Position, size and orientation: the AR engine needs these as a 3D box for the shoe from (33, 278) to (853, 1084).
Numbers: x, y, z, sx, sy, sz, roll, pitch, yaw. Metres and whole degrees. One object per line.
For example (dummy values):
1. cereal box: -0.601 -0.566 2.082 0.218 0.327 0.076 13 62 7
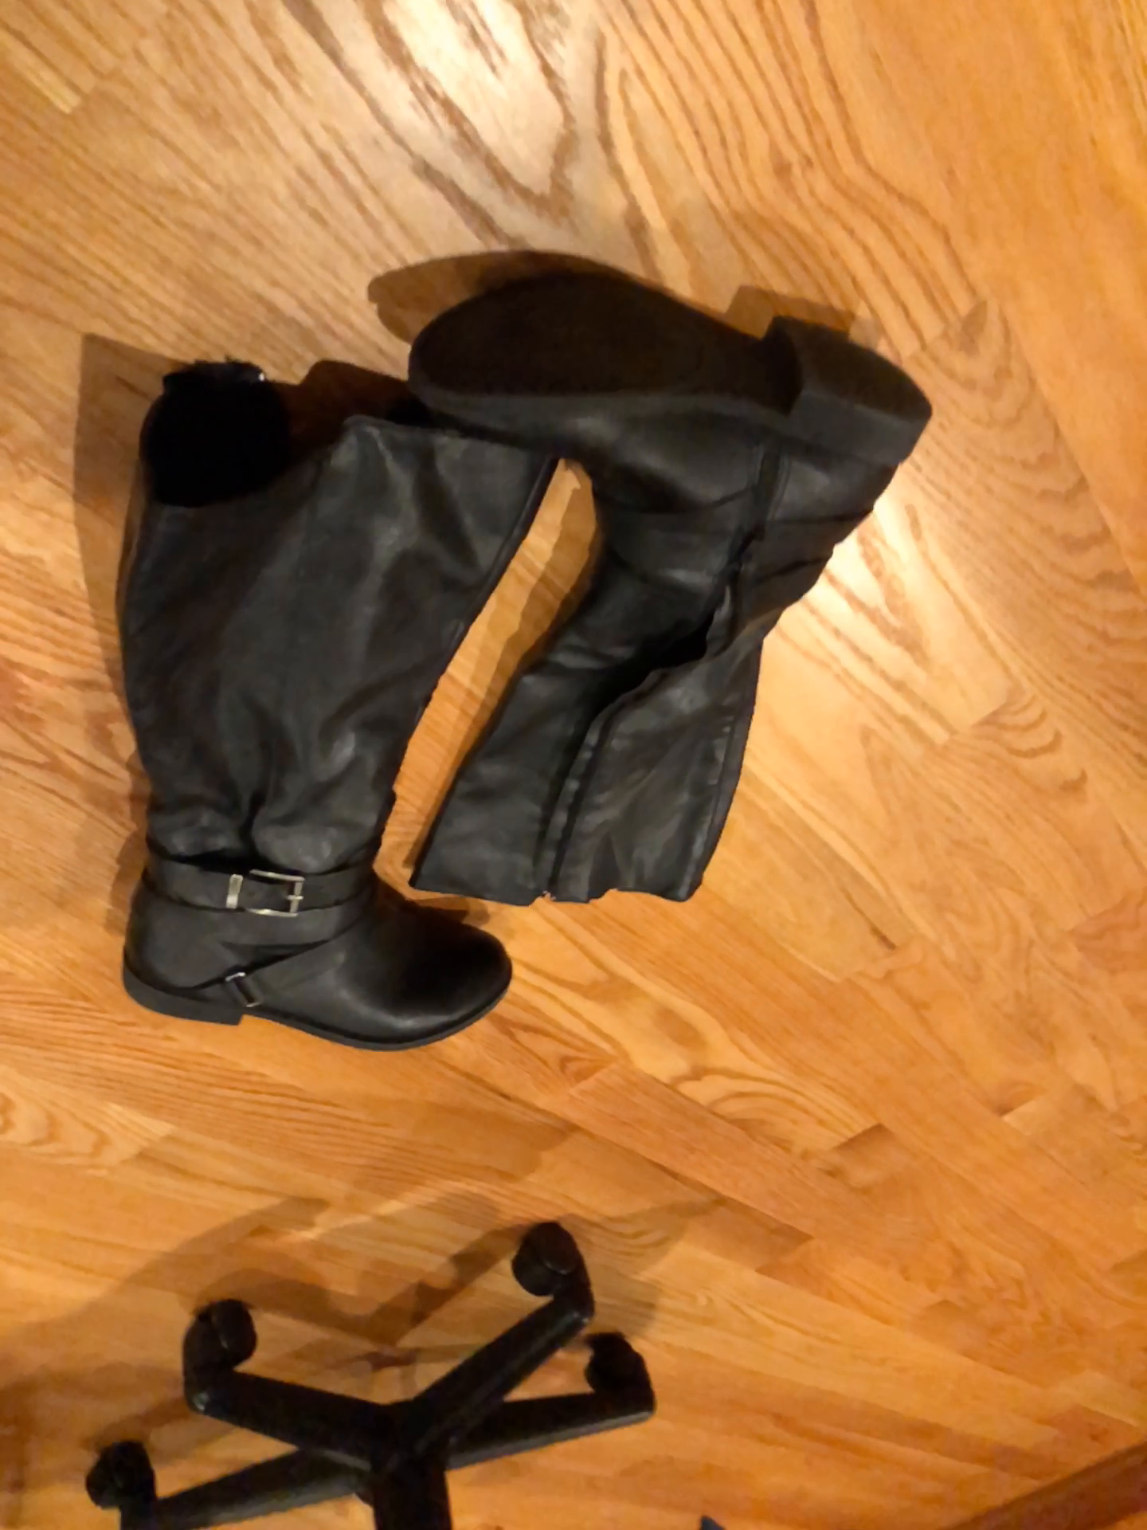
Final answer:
1. shoe: -0.095 0.004 0.637 0.291 0.104 0.404 6 132 -25

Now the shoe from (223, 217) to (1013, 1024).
1. shoe: -0.007 -0.029 0.635 0.251 0.094 0.394 7 131 -25
